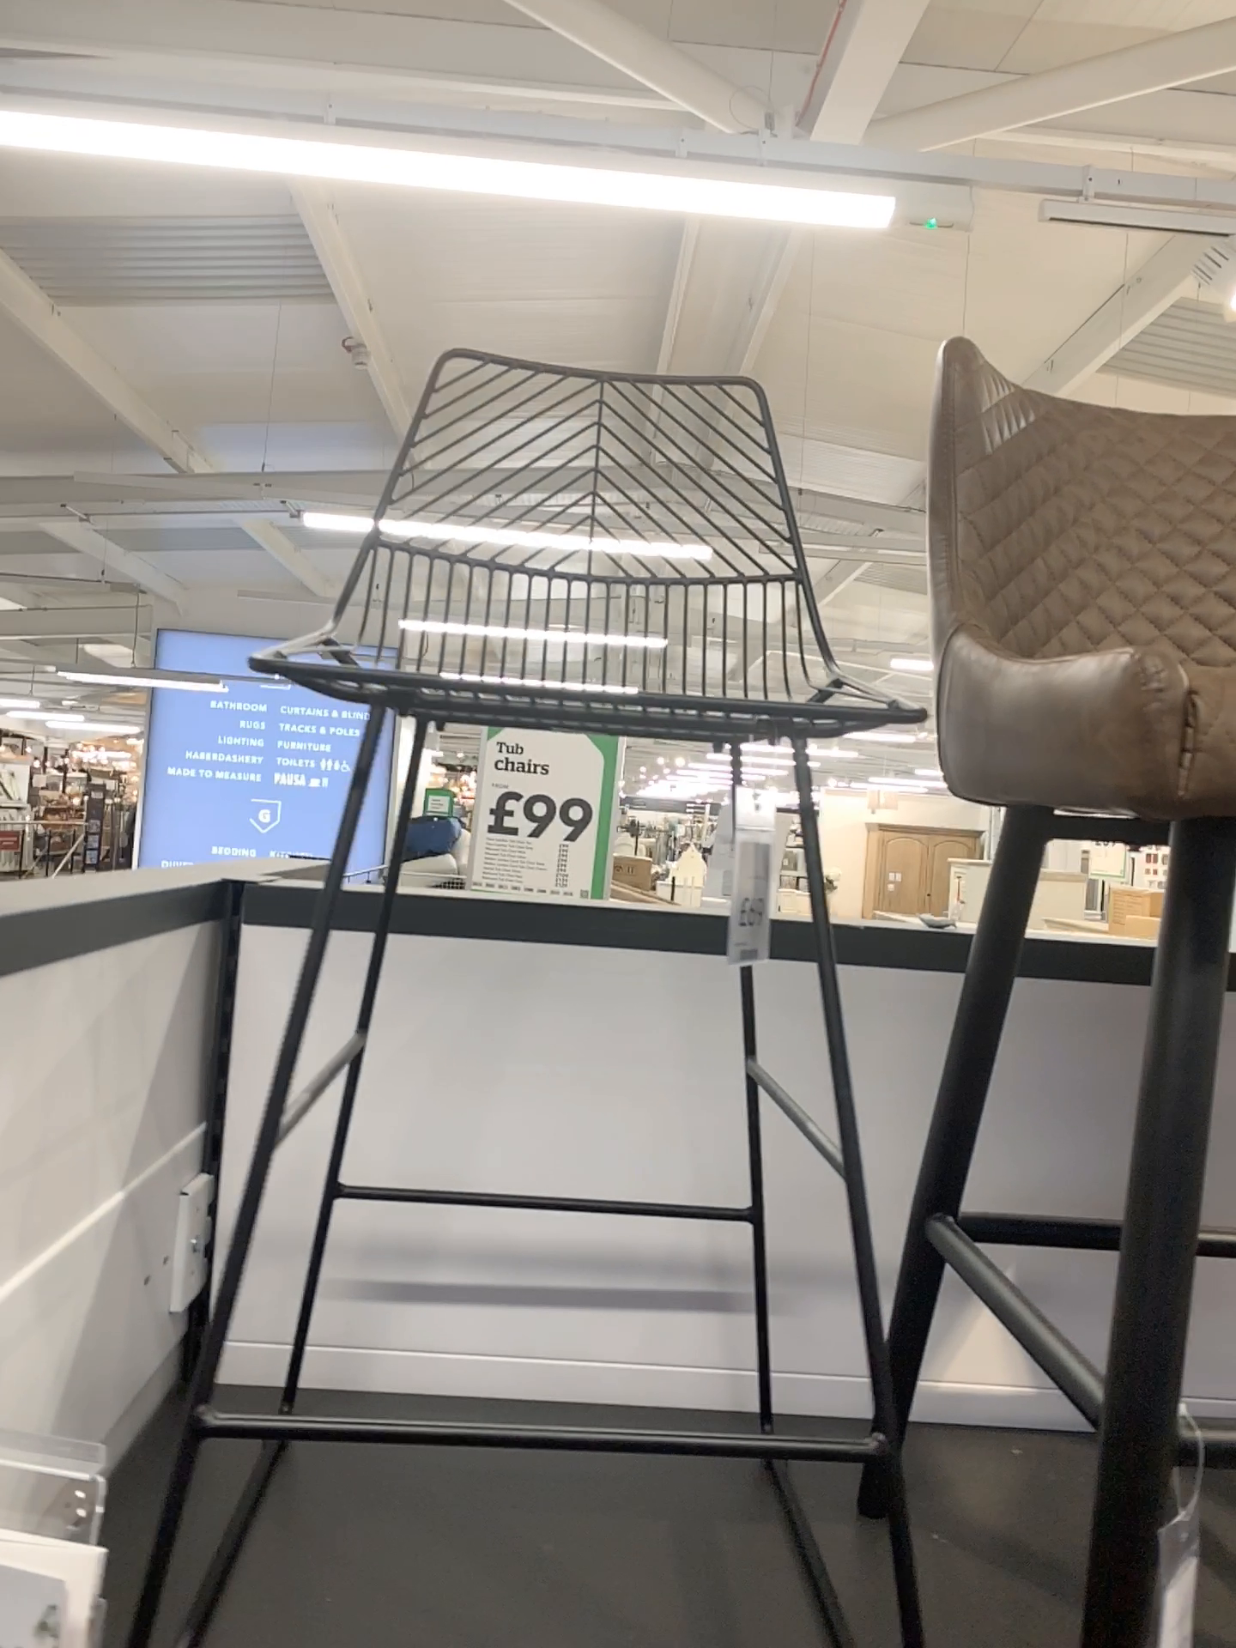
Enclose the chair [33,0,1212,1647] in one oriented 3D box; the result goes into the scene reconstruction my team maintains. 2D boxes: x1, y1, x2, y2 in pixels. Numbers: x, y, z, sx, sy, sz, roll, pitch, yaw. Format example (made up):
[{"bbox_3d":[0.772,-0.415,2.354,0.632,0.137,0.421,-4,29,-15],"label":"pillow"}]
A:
[{"bbox_3d":[-0.005,0.050,0.883,0.508,0.968,0.528,4,0,-3],"label":"chair"}]
